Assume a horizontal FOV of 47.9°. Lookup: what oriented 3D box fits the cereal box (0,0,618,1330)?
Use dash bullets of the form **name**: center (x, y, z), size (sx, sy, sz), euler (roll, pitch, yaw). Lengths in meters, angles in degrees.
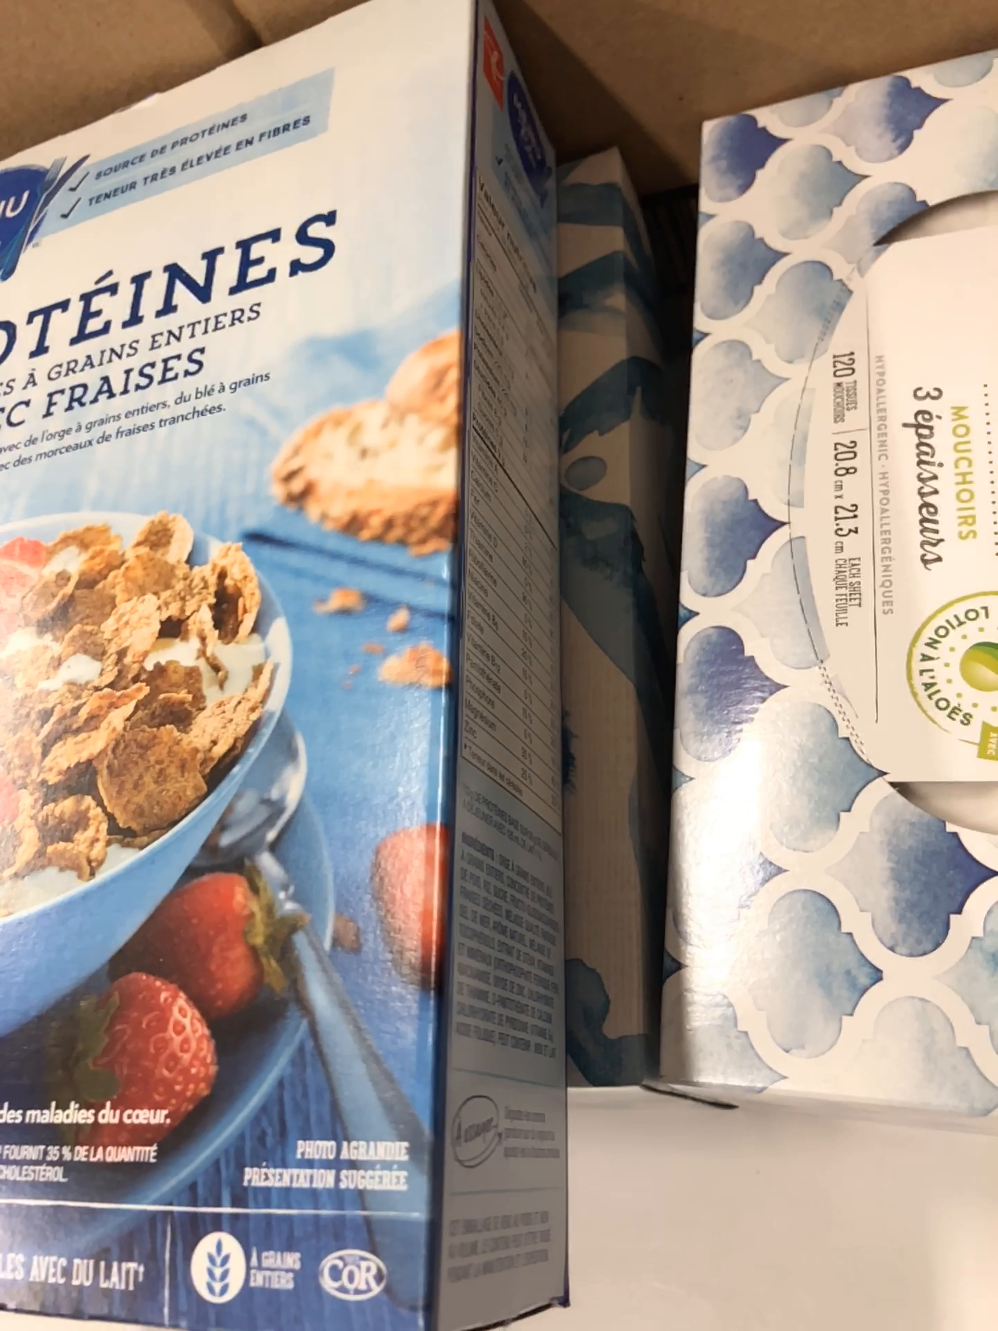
- **cereal box**: center (-0.079, -0.007, 0.224), size (0.190, 0.050, 0.250), euler (-11, 63, 23)
